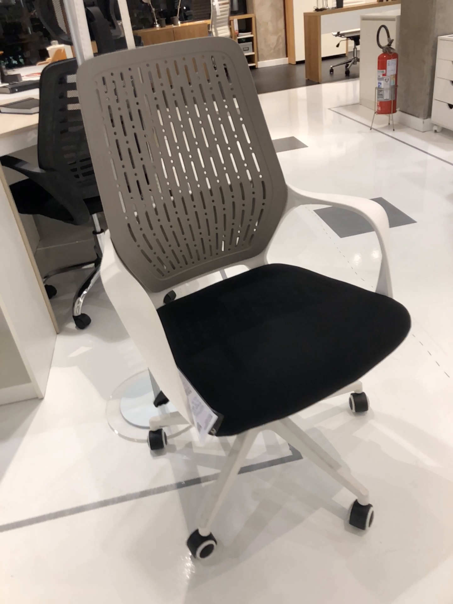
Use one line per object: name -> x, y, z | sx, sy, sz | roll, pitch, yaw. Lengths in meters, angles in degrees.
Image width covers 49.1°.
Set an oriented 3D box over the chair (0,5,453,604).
chair -> 0.074, -0.012, 1.091 | 0.691, 1.002, 0.674 | -22, 33, -23
